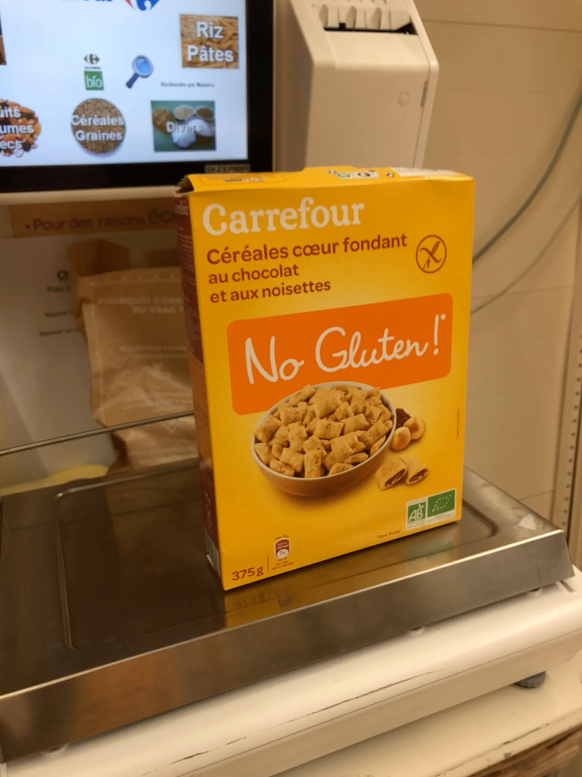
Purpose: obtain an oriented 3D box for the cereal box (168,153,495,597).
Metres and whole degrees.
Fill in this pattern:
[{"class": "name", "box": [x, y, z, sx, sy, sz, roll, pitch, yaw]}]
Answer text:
[{"class": "cereal box", "box": [0.033, -0.016, 0.446, 0.201, 0.269, 0.060, -9, 19, -22]}]
